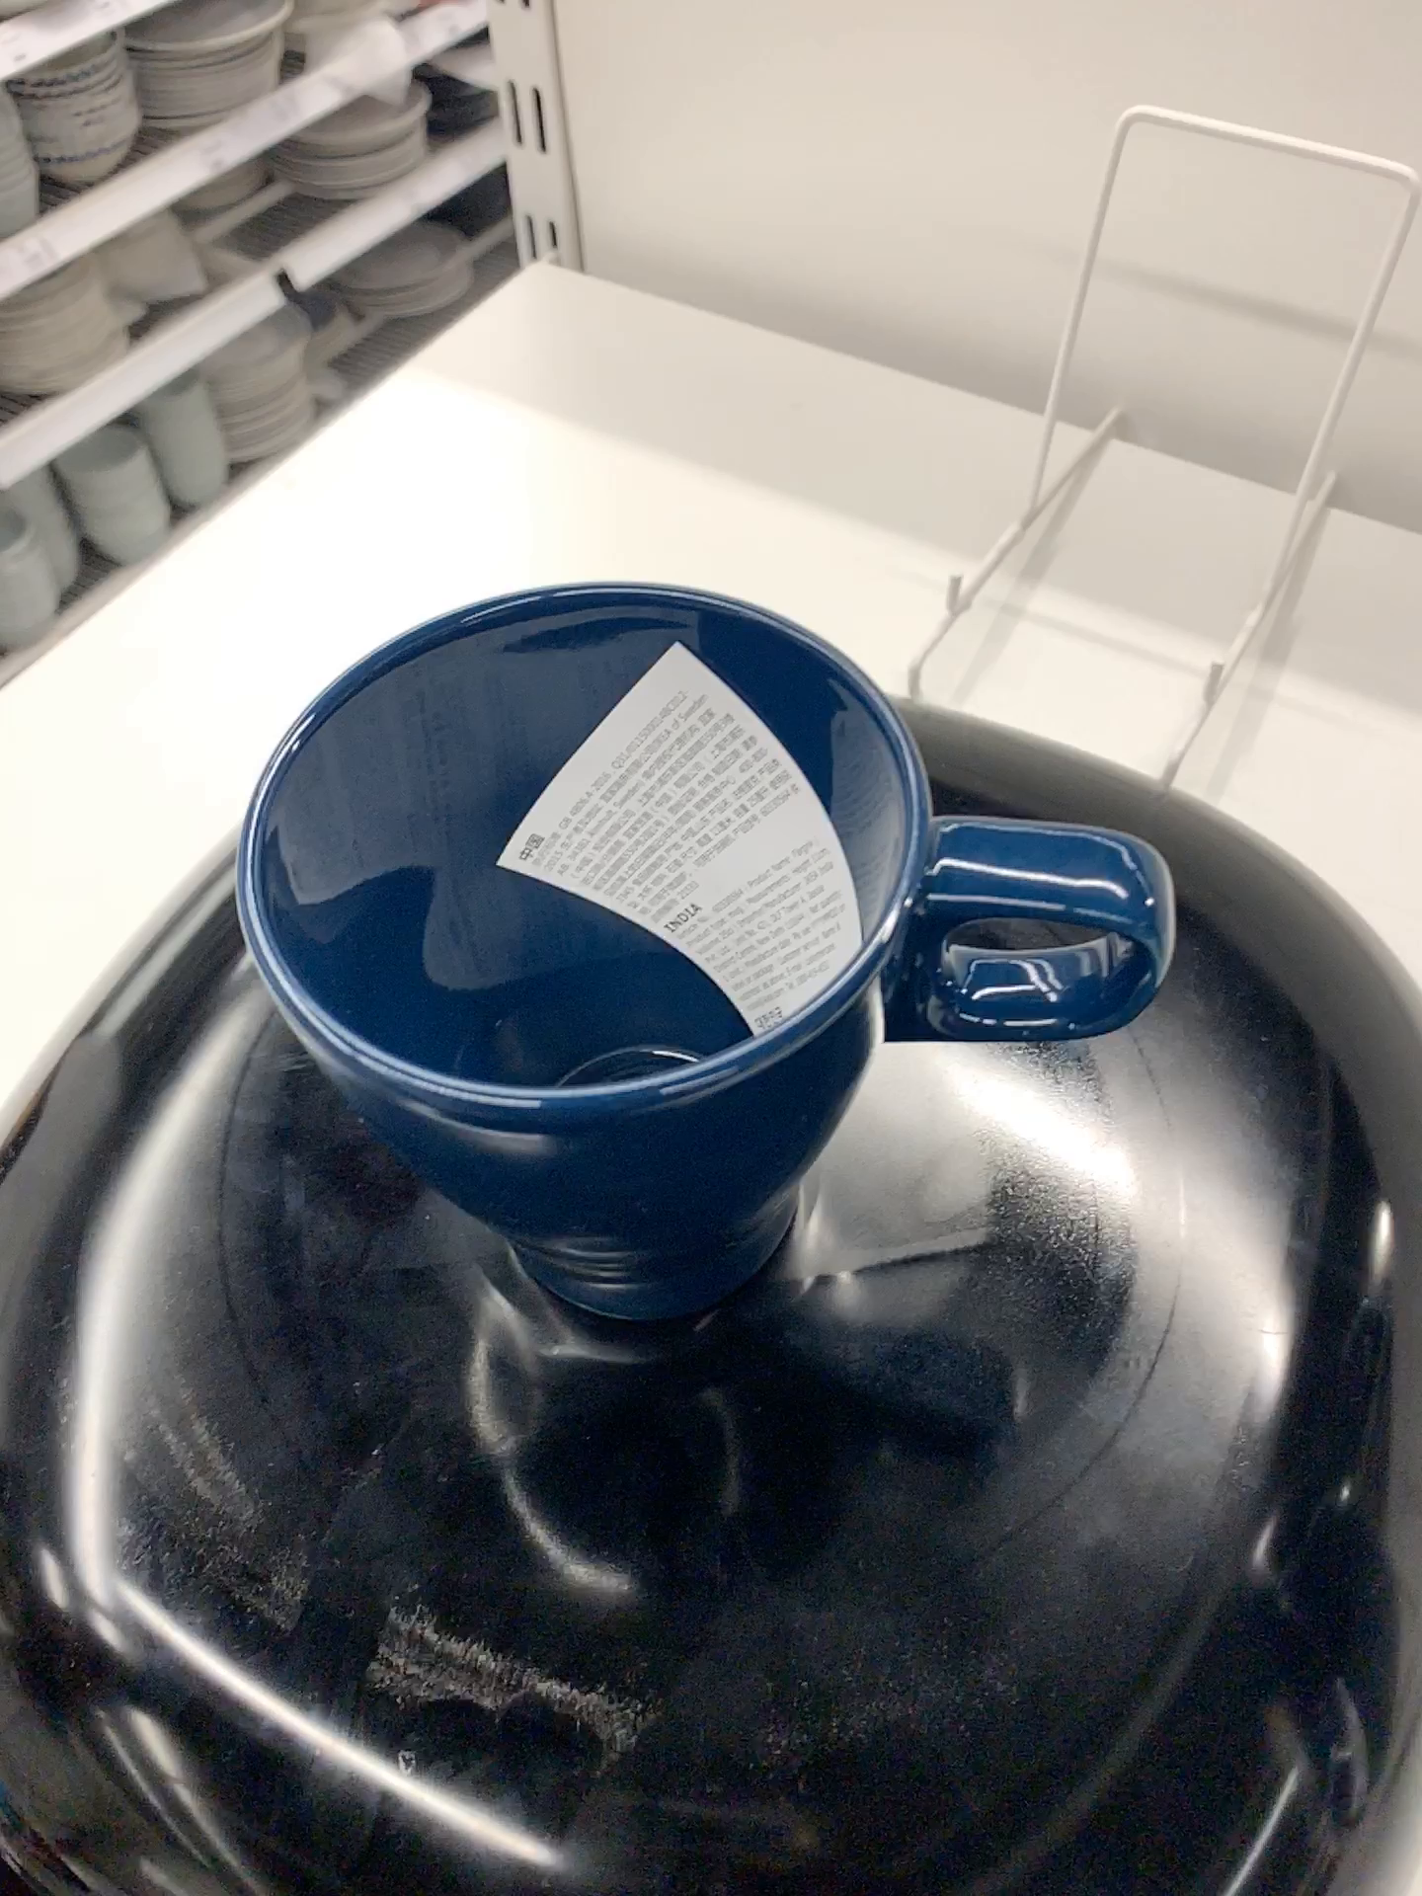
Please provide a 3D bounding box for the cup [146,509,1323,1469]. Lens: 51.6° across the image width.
[{"bbox_3d":[0.000,0.009,0.216,0.120,0.100,0.090,-4,52,-2],"label":"cup"}]
